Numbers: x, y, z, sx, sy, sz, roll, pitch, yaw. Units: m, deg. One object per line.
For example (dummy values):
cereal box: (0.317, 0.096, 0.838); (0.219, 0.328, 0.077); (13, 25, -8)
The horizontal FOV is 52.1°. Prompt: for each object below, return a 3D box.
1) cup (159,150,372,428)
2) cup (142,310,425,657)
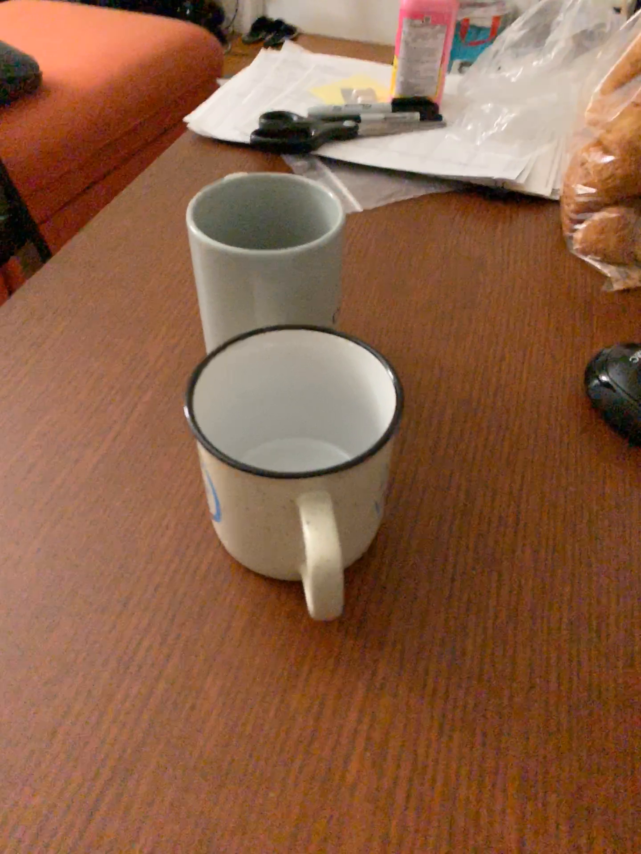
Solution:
cup: (-0.027, -0.085, 0.392); (0.100, 0.099, 0.141); (0, 47, -1)
cup: (-0.014, 0.025, 0.313); (0.100, 0.099, 0.131); (1, 47, -1)
